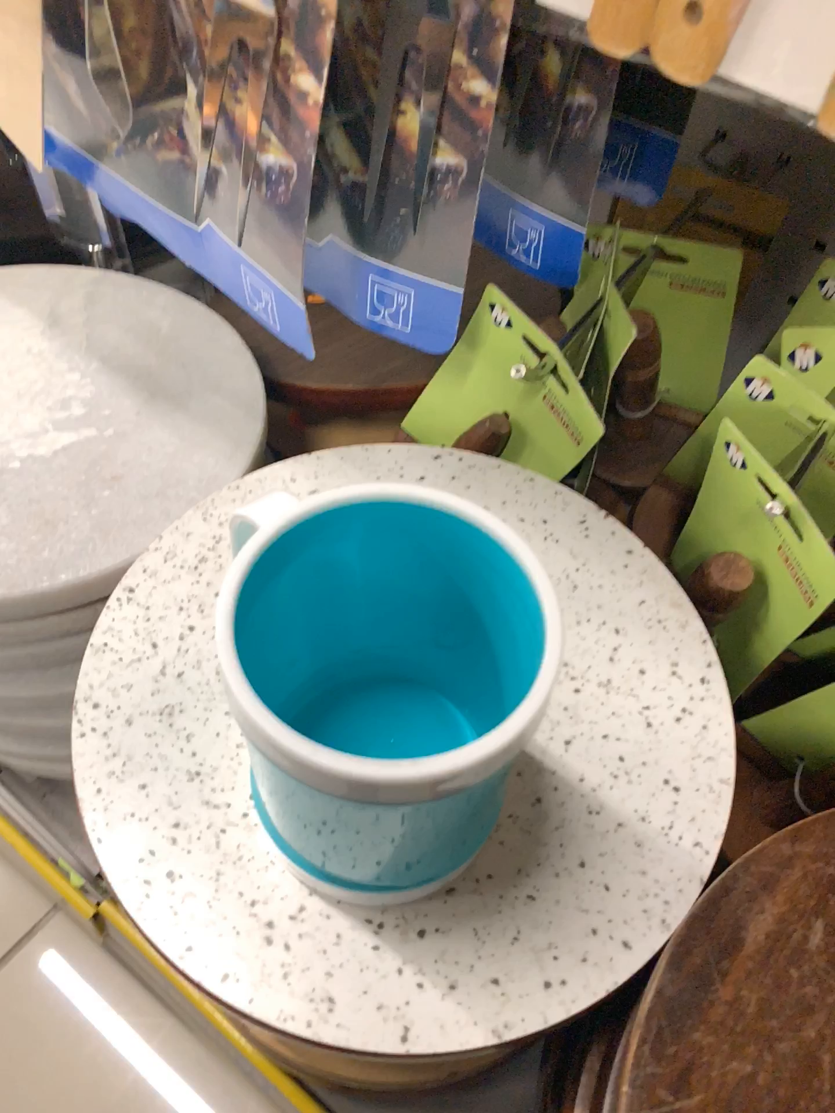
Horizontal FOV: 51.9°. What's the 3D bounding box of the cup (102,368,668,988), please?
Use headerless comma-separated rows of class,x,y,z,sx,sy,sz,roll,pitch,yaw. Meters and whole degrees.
cup,-0.014,0.035,0.241,0.080,0.110,0.110,-31,61,-25
